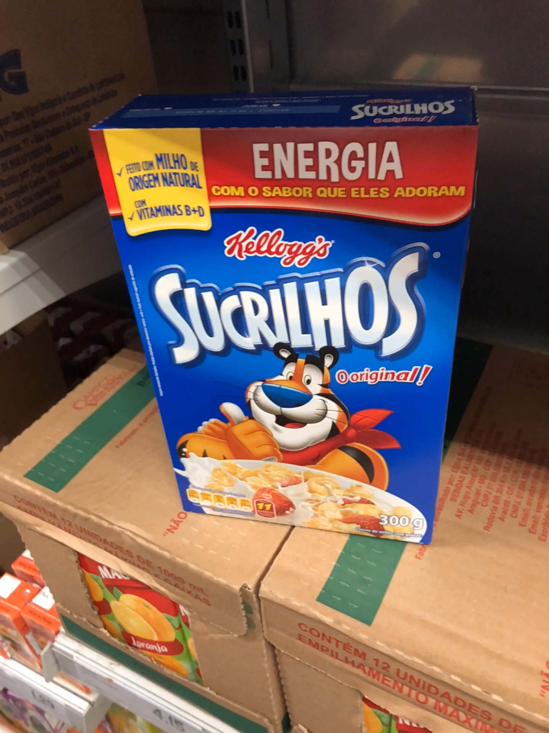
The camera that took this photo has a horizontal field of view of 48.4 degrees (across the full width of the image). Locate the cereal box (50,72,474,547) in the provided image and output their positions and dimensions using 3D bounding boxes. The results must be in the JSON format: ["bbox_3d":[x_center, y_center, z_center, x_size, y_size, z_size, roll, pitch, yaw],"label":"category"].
[{"bbox_3d":[0.007,-0.015,0.333,0.170,0.248,0.060,5,39,15],"label":"cereal box"}]
